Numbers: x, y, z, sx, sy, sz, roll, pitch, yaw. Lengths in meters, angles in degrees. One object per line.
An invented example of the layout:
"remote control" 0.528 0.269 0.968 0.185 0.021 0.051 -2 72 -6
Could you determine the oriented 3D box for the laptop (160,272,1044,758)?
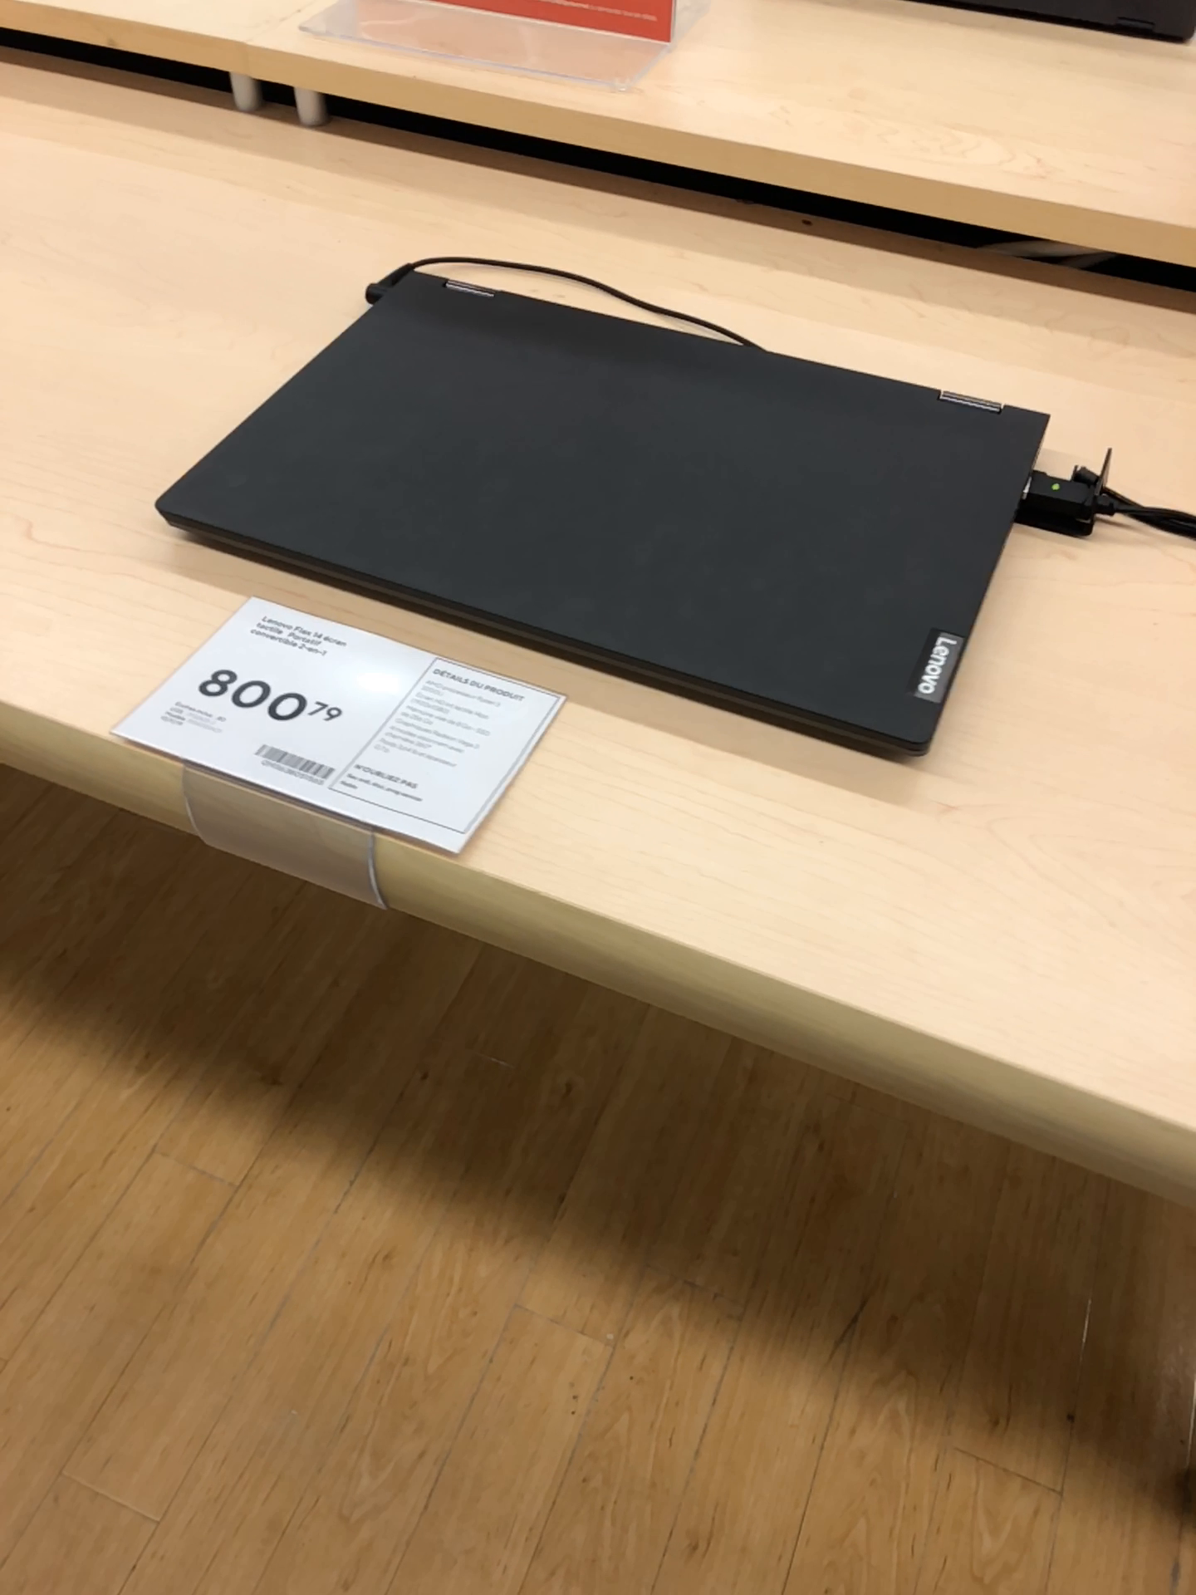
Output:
"laptop" 0.010 -0.142 0.579 0.326 0.009 0.212 19 53 14
